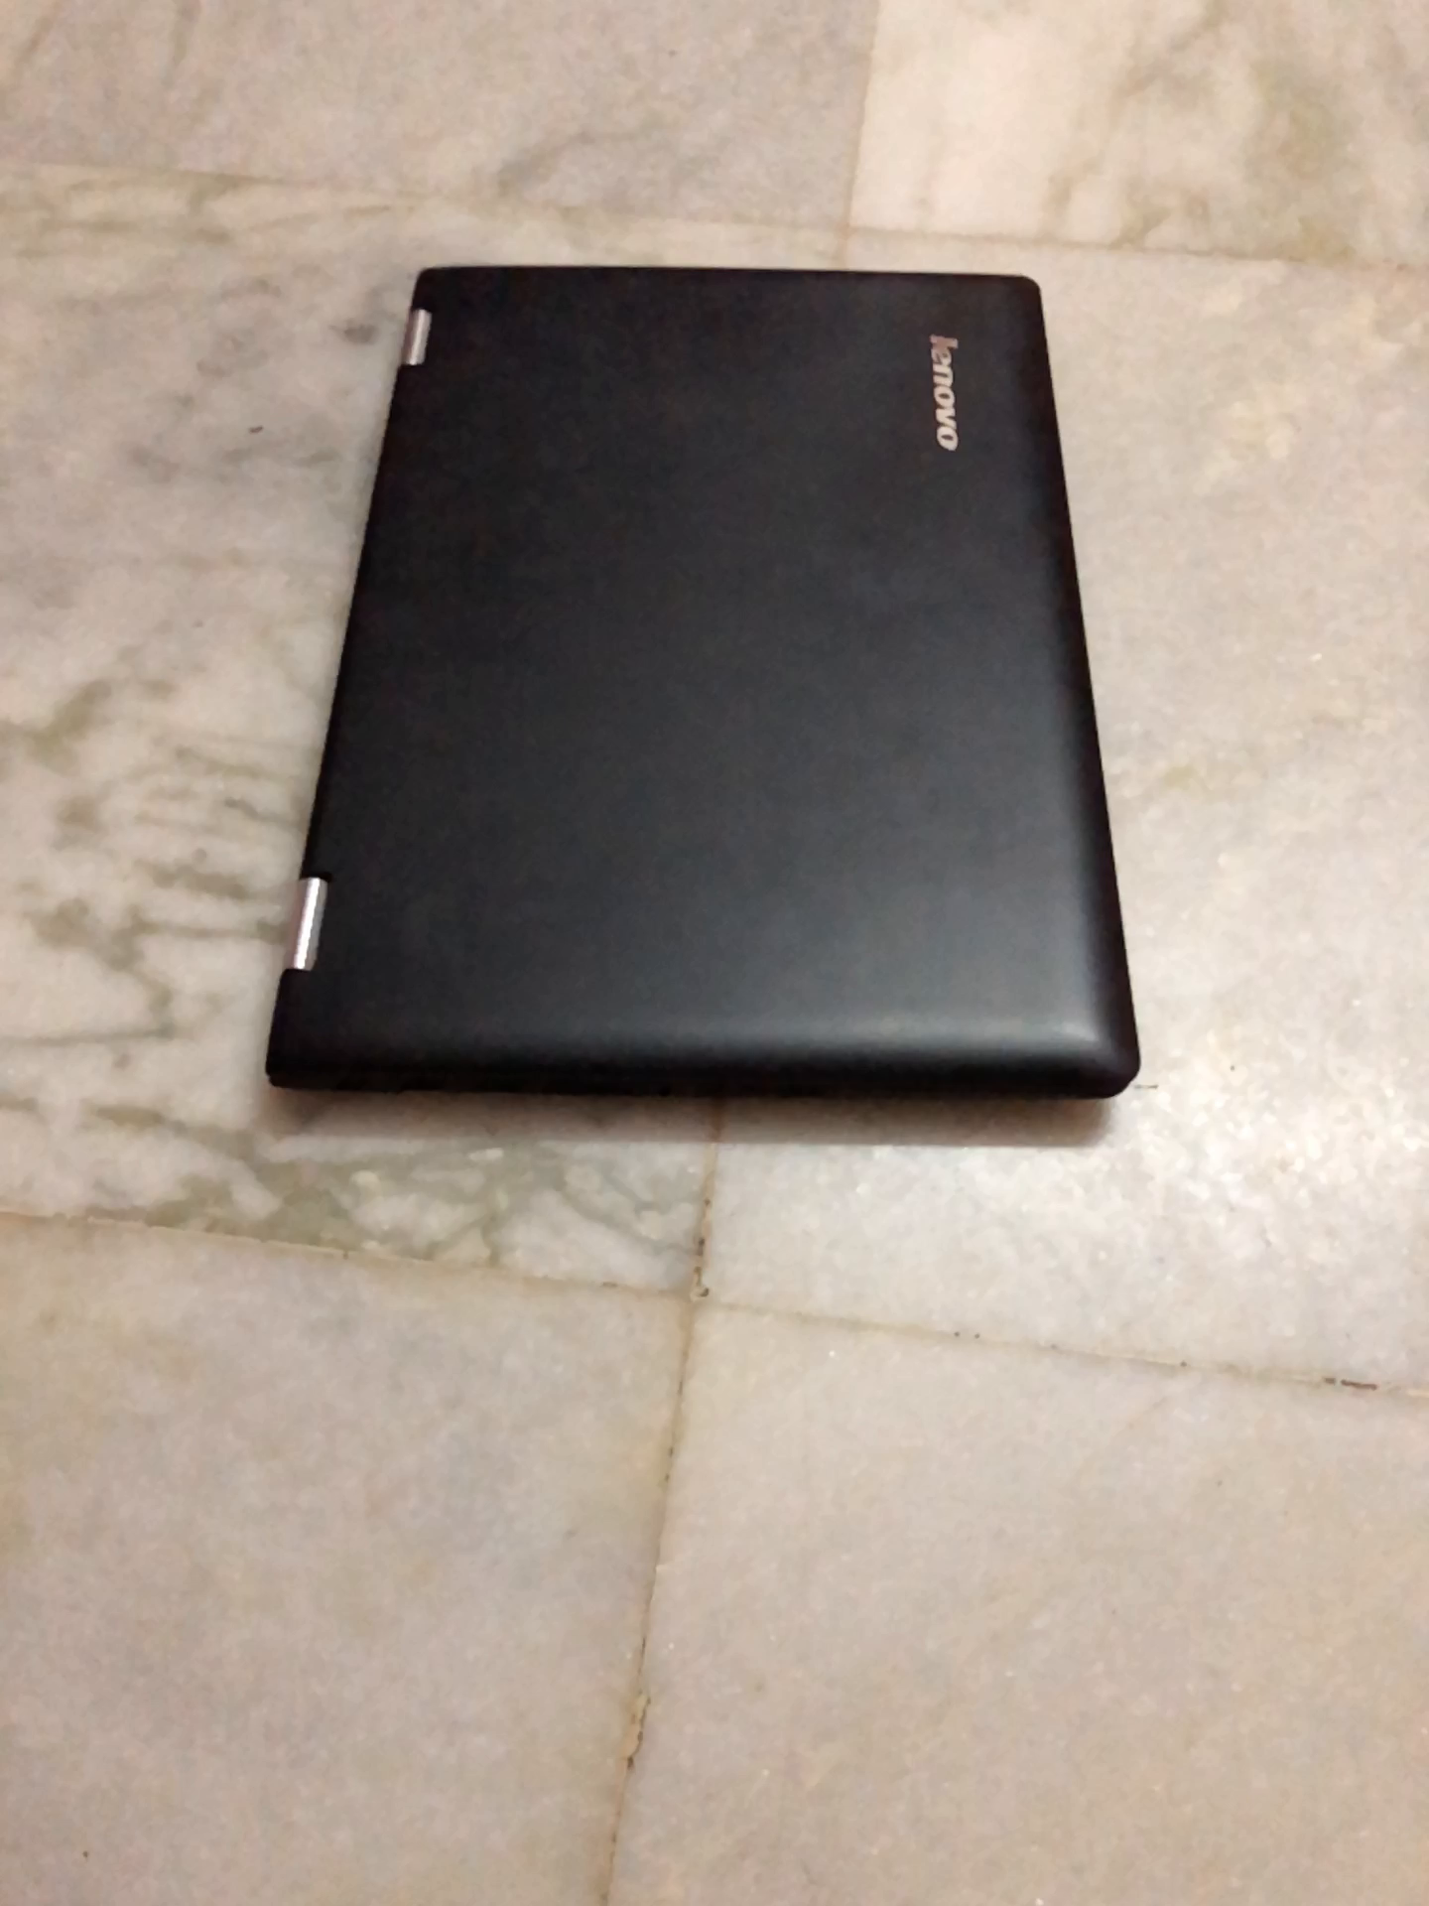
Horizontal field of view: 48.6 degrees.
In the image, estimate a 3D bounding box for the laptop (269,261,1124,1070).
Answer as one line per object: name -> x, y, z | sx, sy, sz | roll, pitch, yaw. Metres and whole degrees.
laptop -> -0.001, -0.112, 0.499 | 0.222, 0.002, 0.330 | 1, 58, 0
